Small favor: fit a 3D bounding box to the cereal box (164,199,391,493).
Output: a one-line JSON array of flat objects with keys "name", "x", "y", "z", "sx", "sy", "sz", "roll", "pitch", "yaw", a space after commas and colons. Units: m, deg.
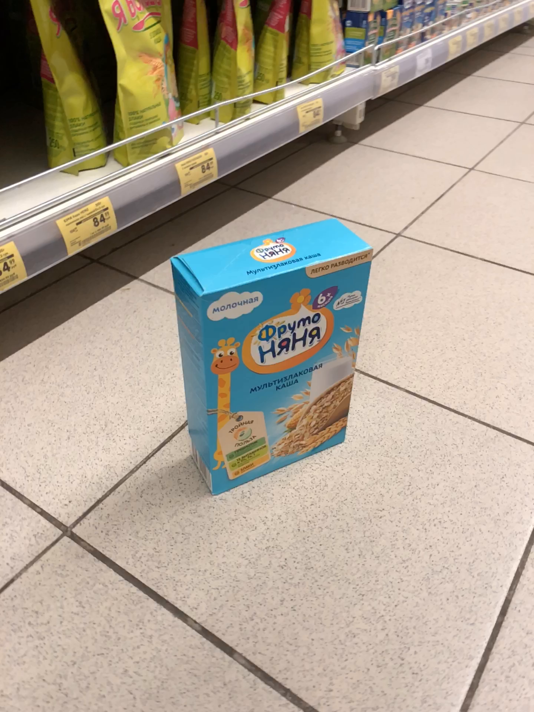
[{"name": "cereal box", "x": 0.006, "y": -0.003, "z": 0.457, "sx": 0.140, "sy": 0.199, "sz": 0.060, "roll": -18, "pitch": 44, "yaw": -22}]
